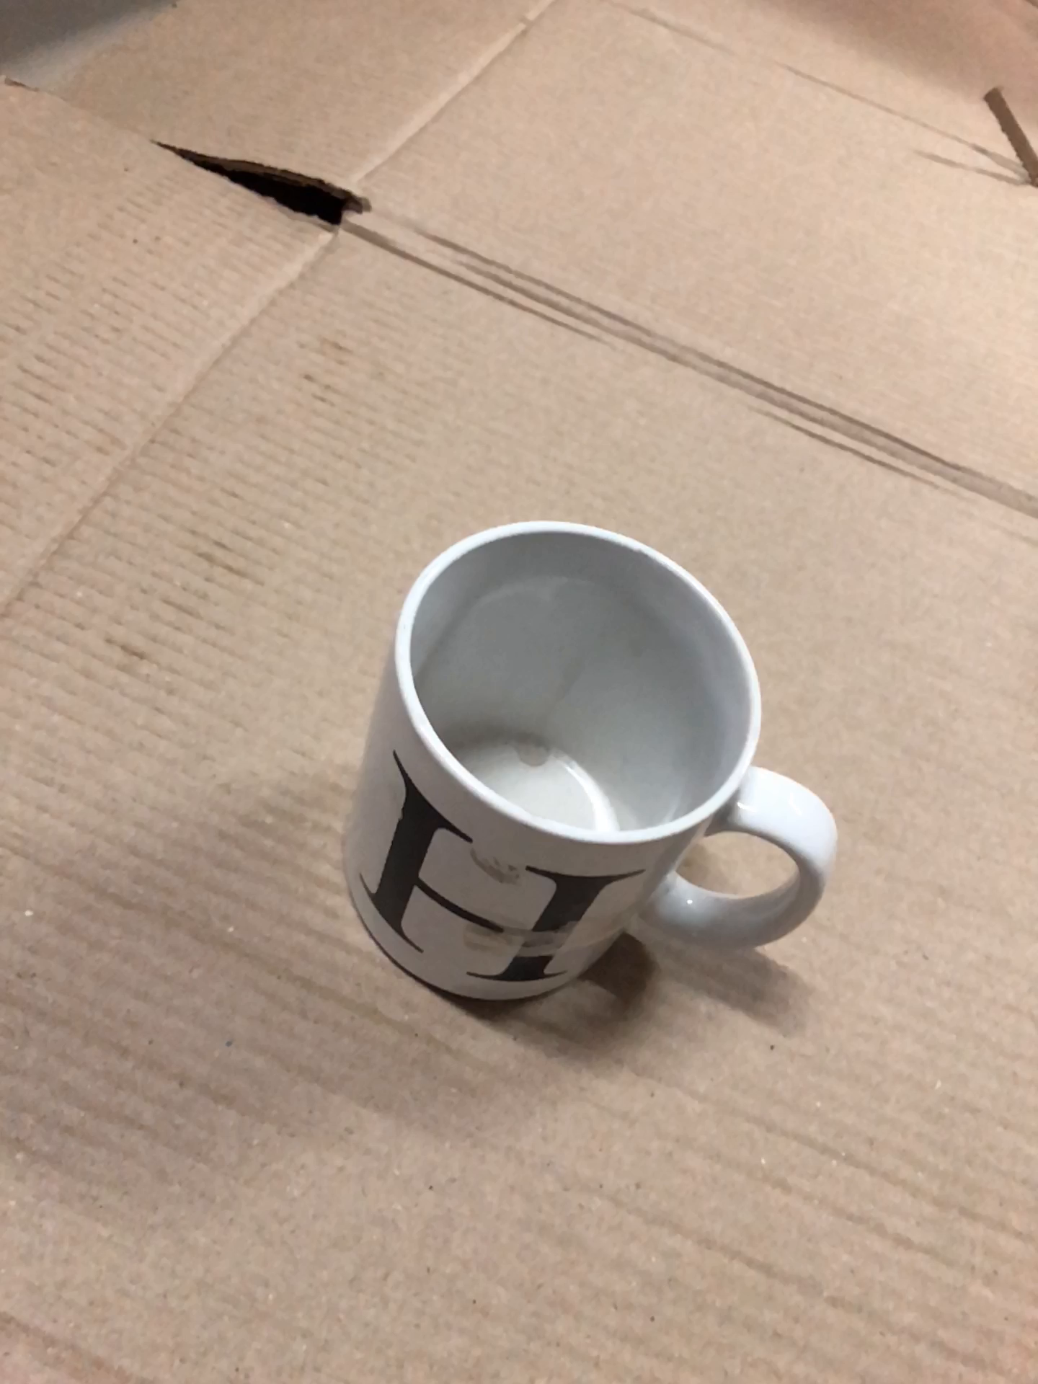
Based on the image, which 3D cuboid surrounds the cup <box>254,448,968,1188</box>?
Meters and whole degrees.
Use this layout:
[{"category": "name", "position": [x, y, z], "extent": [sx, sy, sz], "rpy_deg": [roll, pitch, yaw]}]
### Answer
[{"category": "cup", "position": [0.015, 0.030, 0.251], "extent": [0.110, 0.099, 0.080], "rpy_deg": [26, 50, 5]}]
